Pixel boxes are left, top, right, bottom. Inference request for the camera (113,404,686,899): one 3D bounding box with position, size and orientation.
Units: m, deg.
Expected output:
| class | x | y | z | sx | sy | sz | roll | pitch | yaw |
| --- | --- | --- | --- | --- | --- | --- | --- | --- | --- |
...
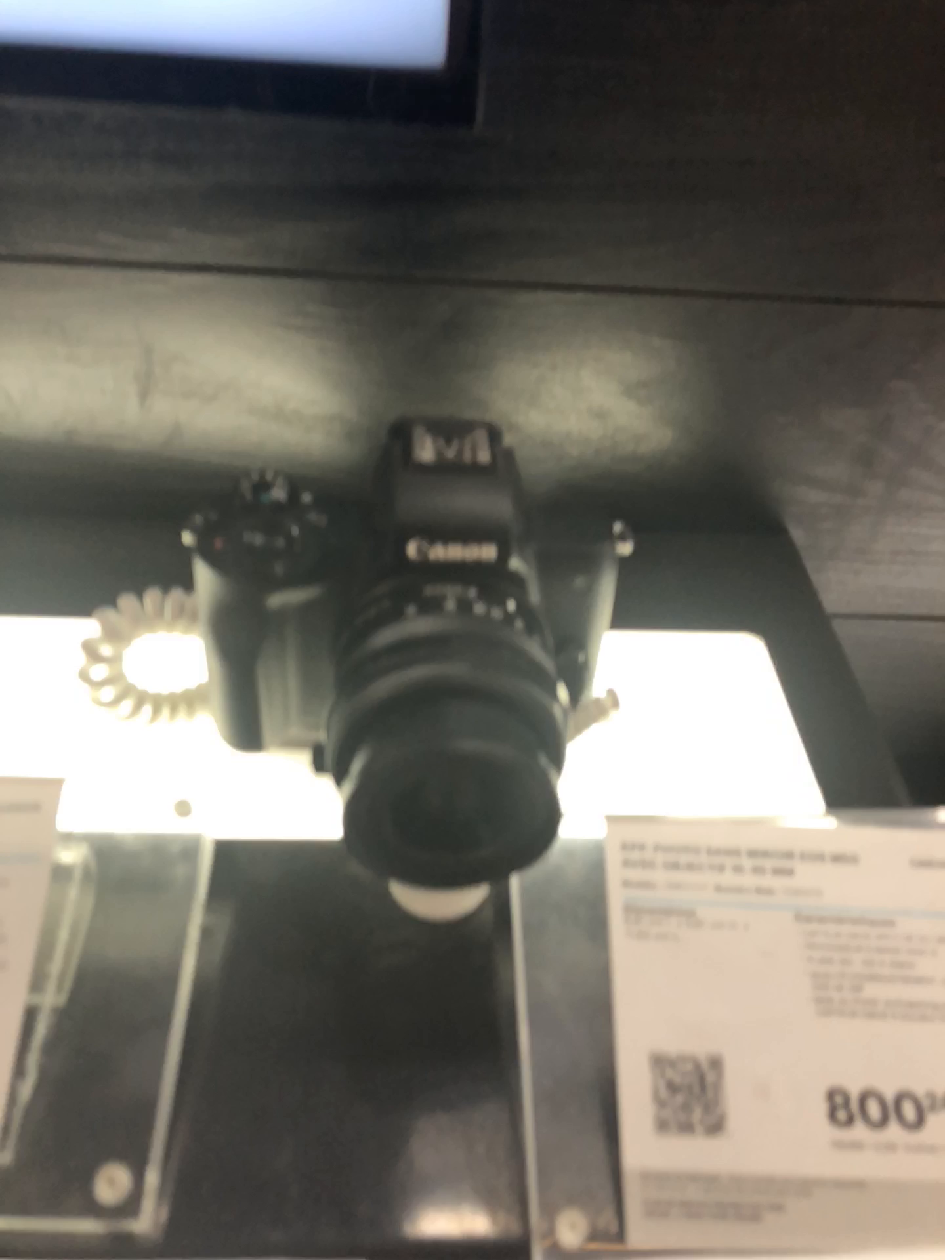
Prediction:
| class | x | y | z | sx | sy | sz | roll | pitch | yaw |
| --- | --- | --- | --- | --- | --- | --- | --- | --- | --- |
| camera | -0.018 | 0.004 | 0.281 | 0.119 | 0.089 | 0.101 | 1 | 37 | -4 |
